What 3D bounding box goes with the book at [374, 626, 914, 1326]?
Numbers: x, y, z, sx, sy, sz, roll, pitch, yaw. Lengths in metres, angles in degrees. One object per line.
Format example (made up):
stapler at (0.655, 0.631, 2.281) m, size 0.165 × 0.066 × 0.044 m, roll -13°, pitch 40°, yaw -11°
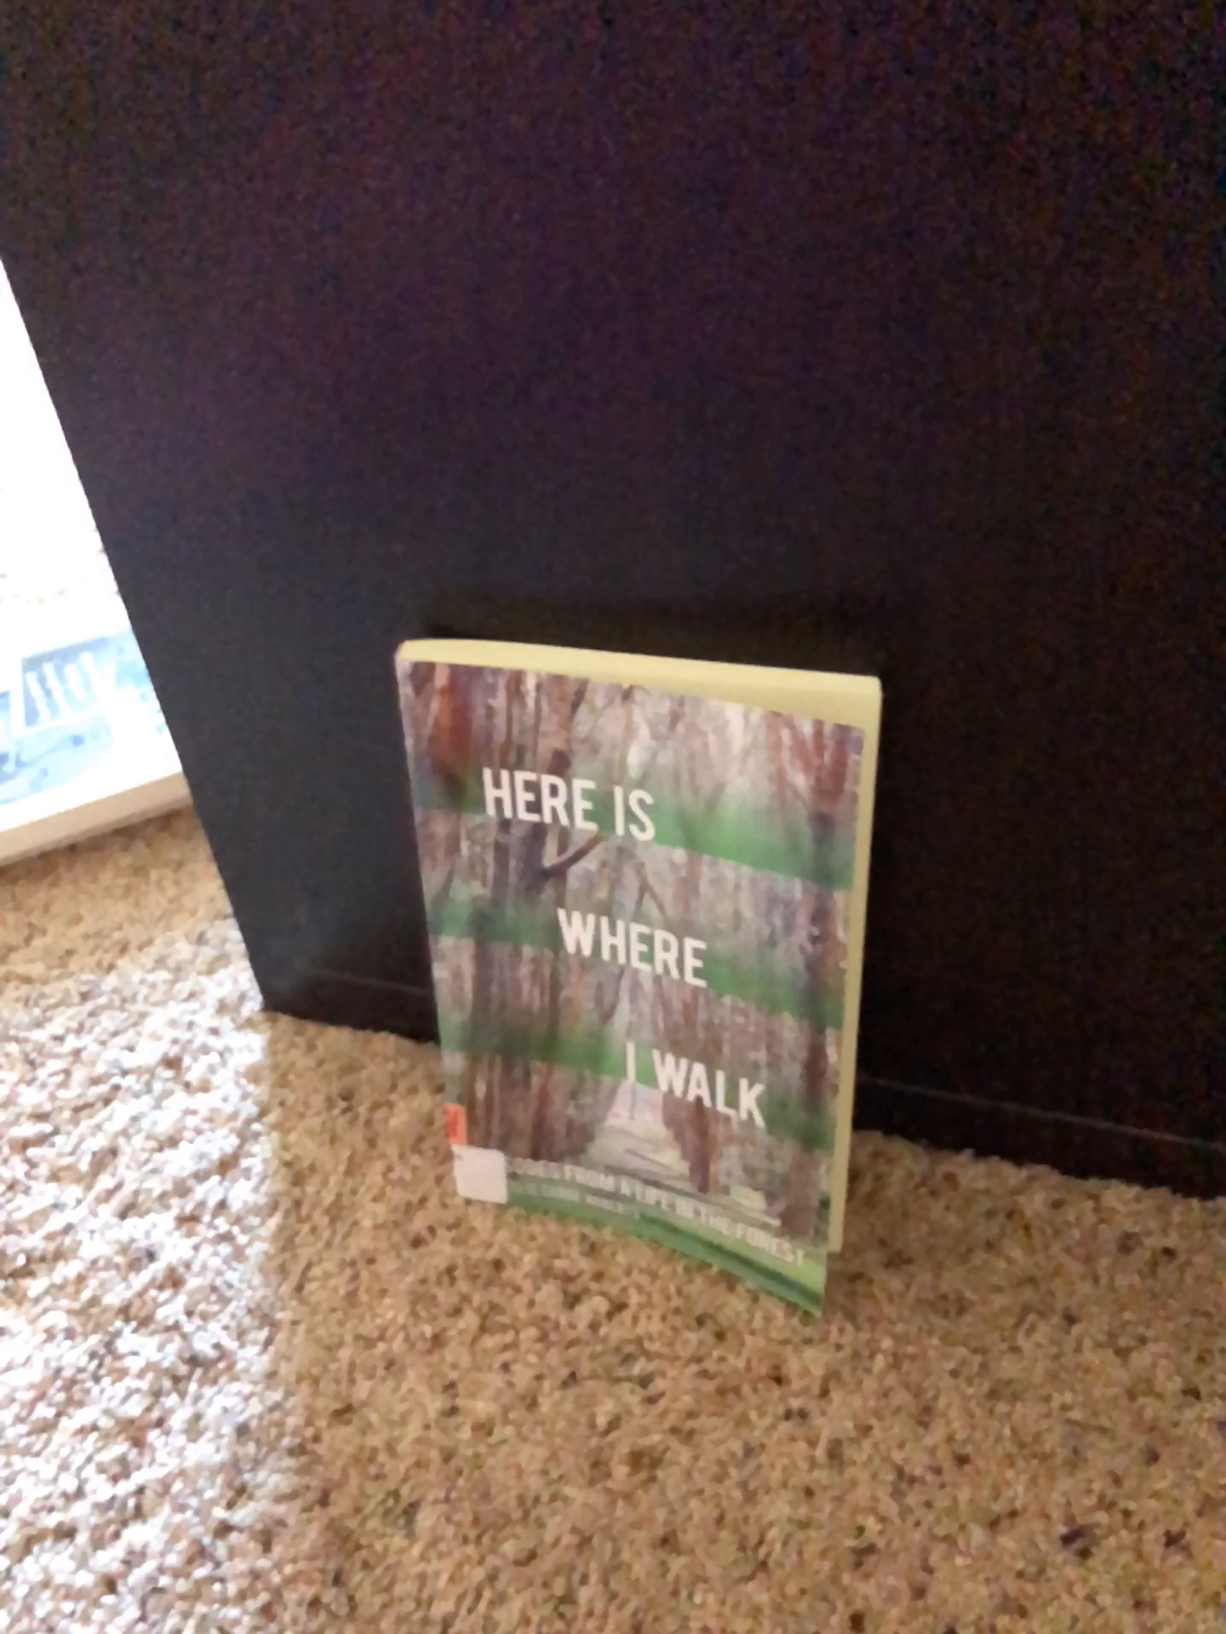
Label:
book at (0.009, 0.053, 0.428) m, size 0.146 × 0.212 × 0.037 m, roll 7°, pitch 28°, yaw 15°
